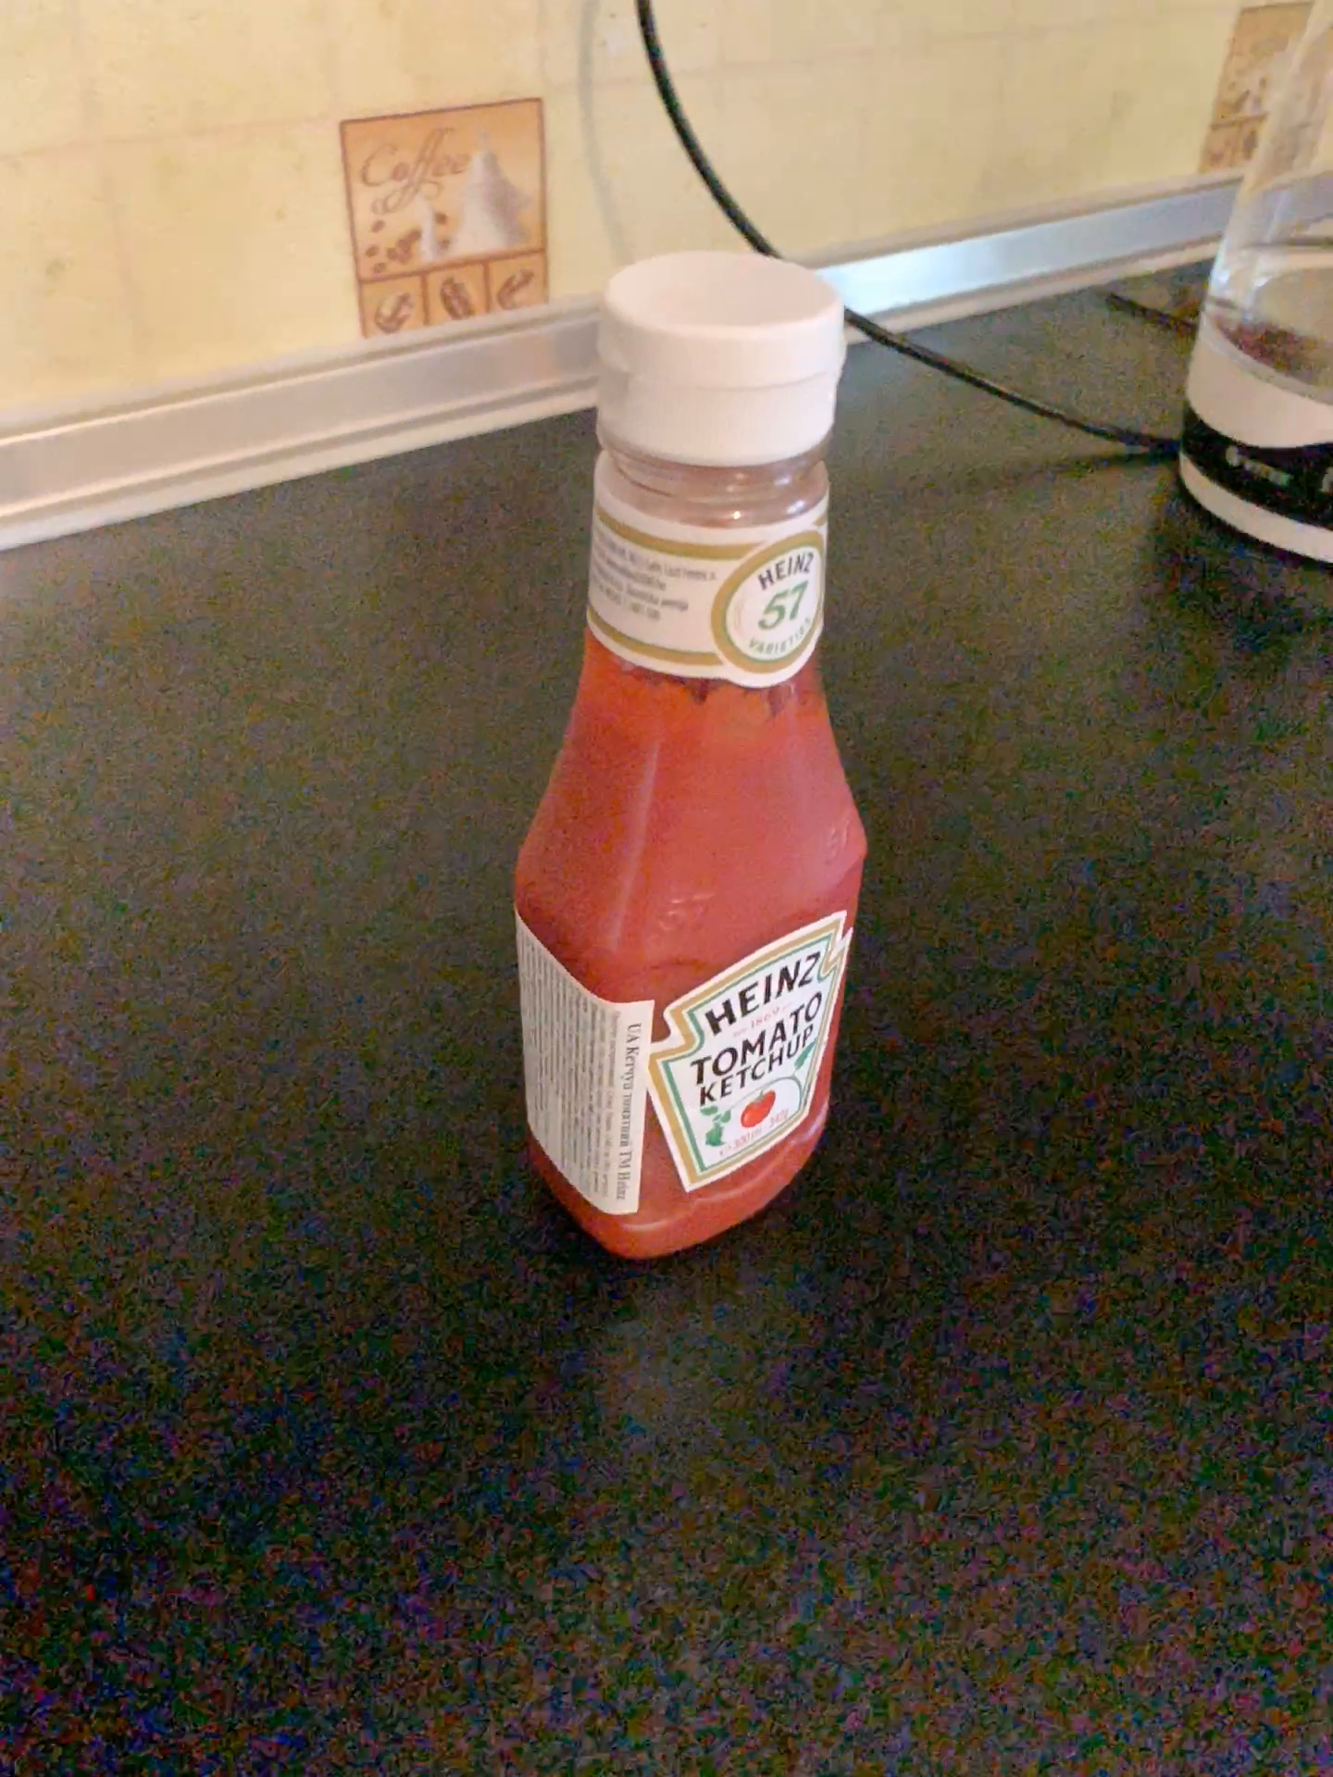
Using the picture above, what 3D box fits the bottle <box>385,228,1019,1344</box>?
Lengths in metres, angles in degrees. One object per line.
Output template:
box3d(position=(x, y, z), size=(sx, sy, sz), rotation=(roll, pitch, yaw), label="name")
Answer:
box3d(position=(0.002, -0.006, 0.249), size=(0.070, 0.189, 0.050), rotation=(-26, 49, -29), label="bottle")
